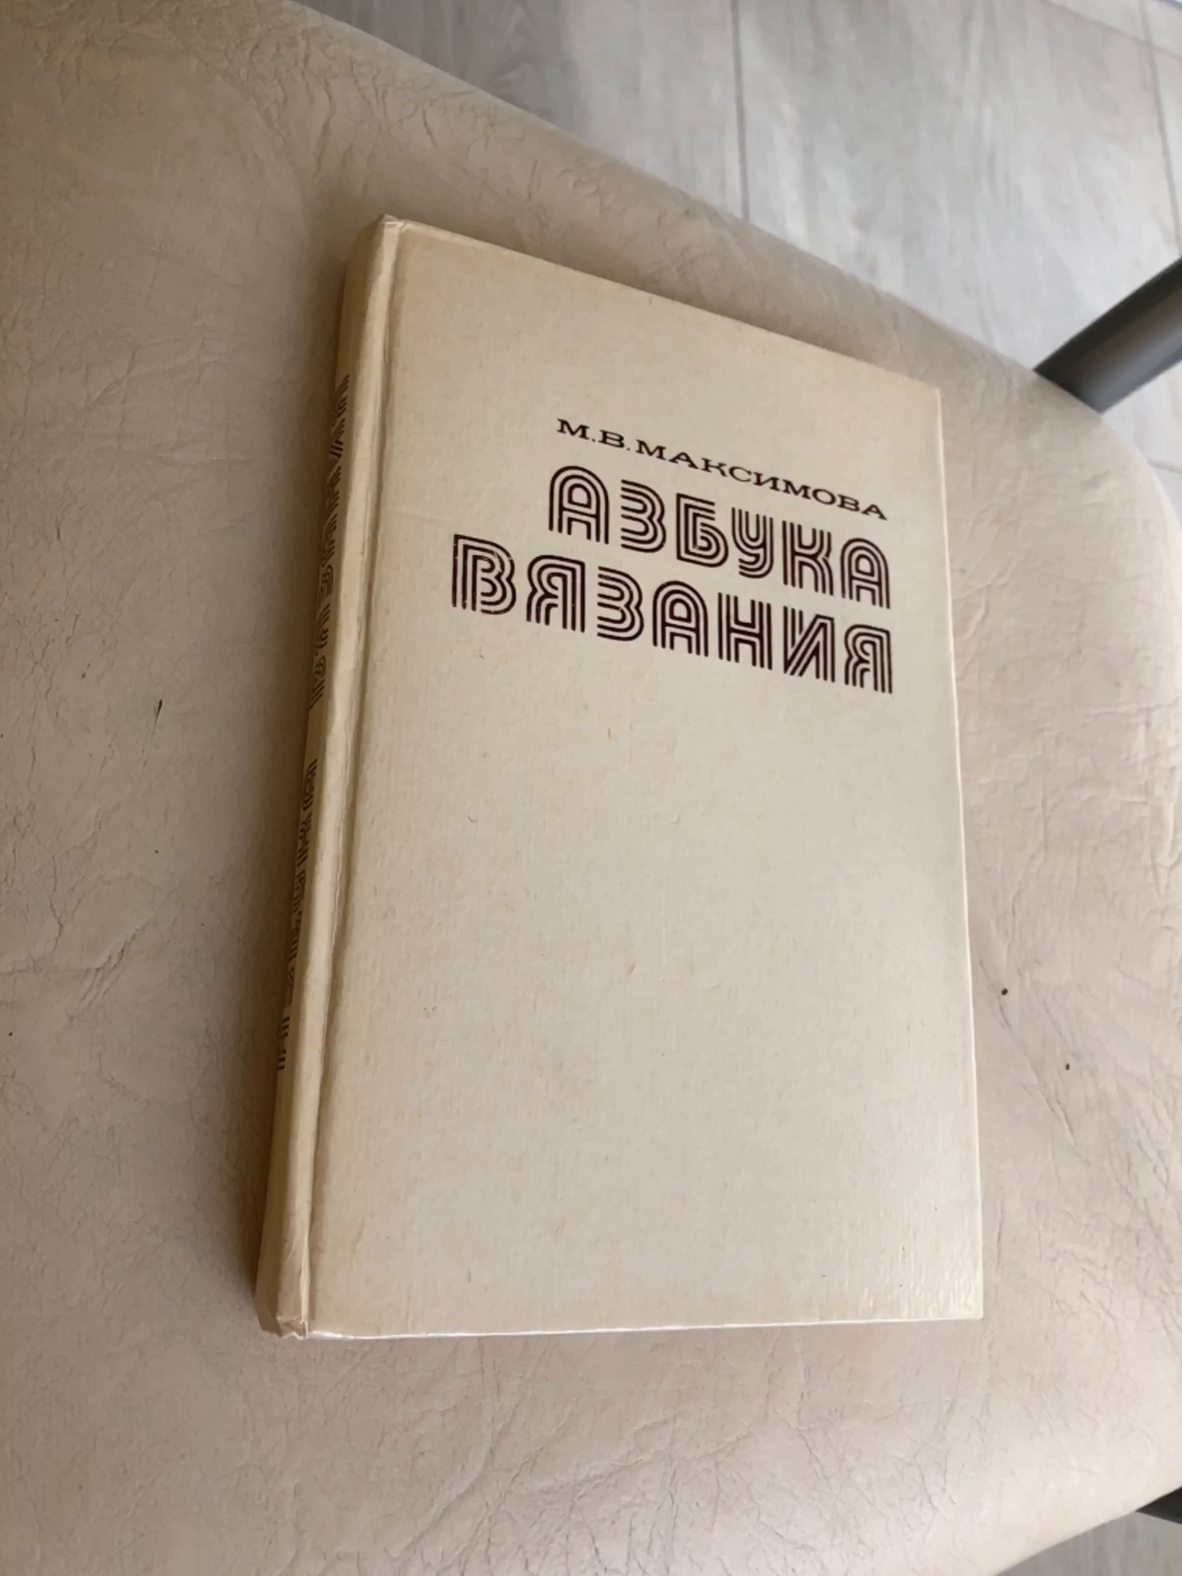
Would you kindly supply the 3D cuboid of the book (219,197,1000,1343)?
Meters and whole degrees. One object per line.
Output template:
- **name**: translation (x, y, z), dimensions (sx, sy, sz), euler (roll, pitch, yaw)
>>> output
- **book**: translation (0.012, -0.003, 0.276), dimensions (0.149, 0.024, 0.218), euler (9, 72, -22)
